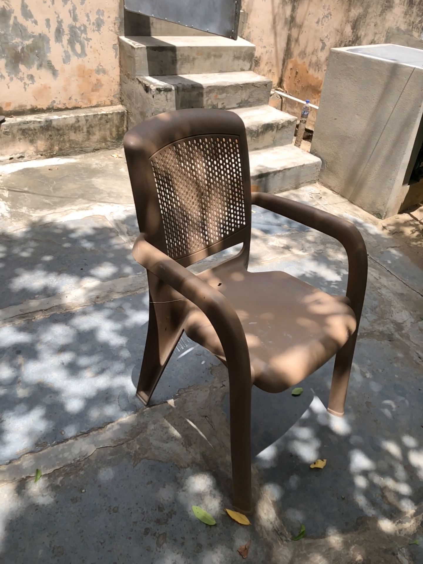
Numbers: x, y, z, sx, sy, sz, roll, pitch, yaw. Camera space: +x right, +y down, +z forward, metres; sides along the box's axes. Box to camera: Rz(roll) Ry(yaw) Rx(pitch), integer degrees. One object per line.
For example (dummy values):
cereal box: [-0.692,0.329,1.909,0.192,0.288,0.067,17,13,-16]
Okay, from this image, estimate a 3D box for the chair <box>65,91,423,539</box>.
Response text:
chair: [0.098,0.026,1.280,0.633,0.825,0.680,-27,47,-37]
